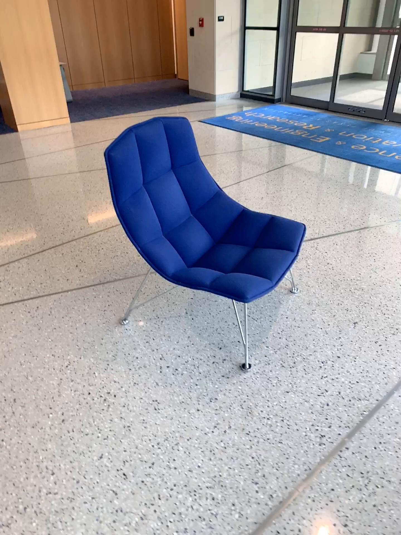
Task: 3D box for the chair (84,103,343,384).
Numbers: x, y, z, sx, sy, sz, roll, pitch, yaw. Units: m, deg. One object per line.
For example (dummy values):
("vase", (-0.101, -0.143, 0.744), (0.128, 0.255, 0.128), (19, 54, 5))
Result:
("chair", (0.102, -0.194, 2.013), (0.830, 0.963, 0.803), (16, 36, 26))
